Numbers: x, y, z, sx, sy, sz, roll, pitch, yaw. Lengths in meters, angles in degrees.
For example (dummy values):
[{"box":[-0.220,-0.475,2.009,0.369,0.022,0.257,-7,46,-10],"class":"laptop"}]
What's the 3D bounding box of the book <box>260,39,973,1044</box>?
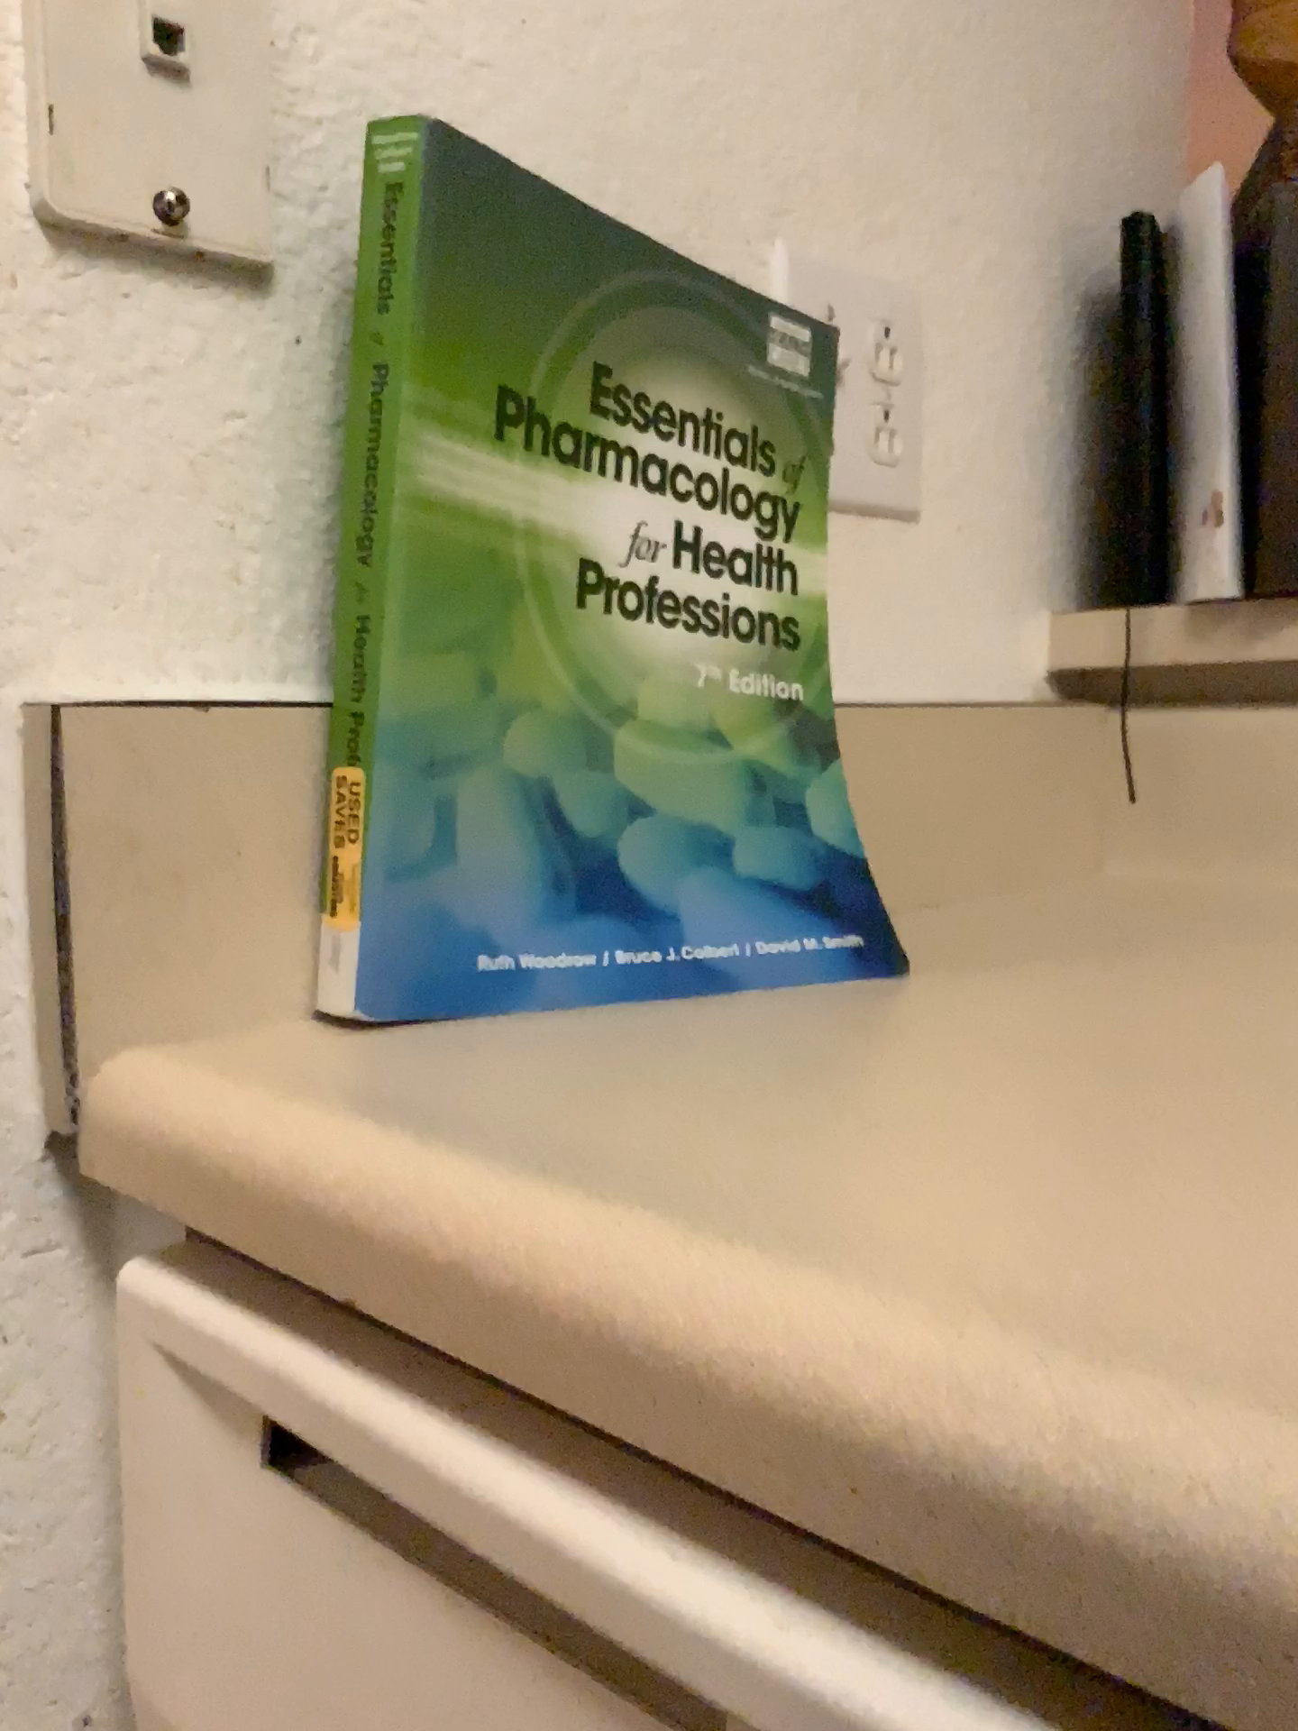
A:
[{"box":[-0.003,-0.091,0.508,0.240,0.270,0.090,-2,5,-40],"class":"book"}]
